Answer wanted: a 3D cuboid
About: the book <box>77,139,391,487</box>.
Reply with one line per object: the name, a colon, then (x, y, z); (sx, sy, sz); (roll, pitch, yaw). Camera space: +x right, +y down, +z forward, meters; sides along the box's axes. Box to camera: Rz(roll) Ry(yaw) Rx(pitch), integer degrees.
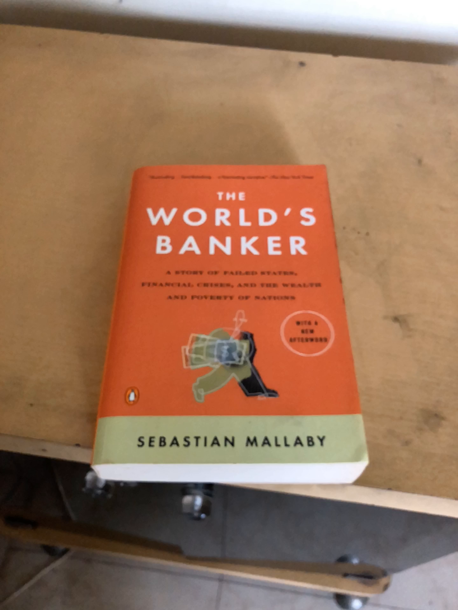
book: (0.003, -0.011, 0.304); (0.140, 0.030, 0.221); (1, 57, -1)
